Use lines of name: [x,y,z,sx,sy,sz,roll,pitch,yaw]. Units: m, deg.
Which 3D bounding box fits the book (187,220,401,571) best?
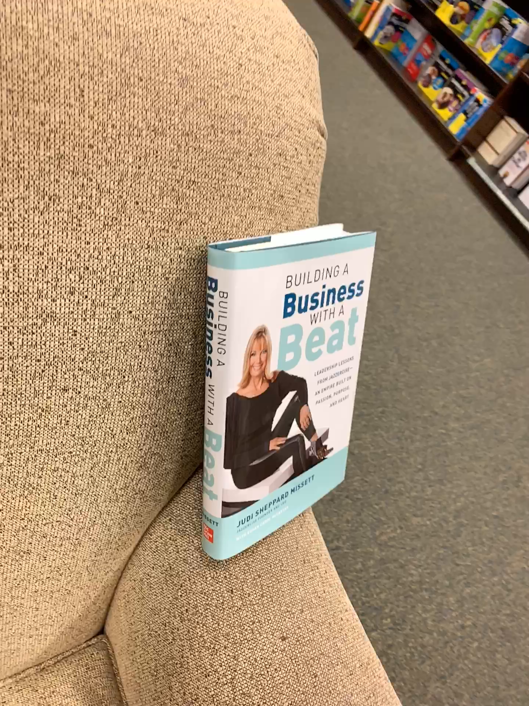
book: [0.024,0.025,0.418,0.171,0.229,0.040,-19,31,-40]
